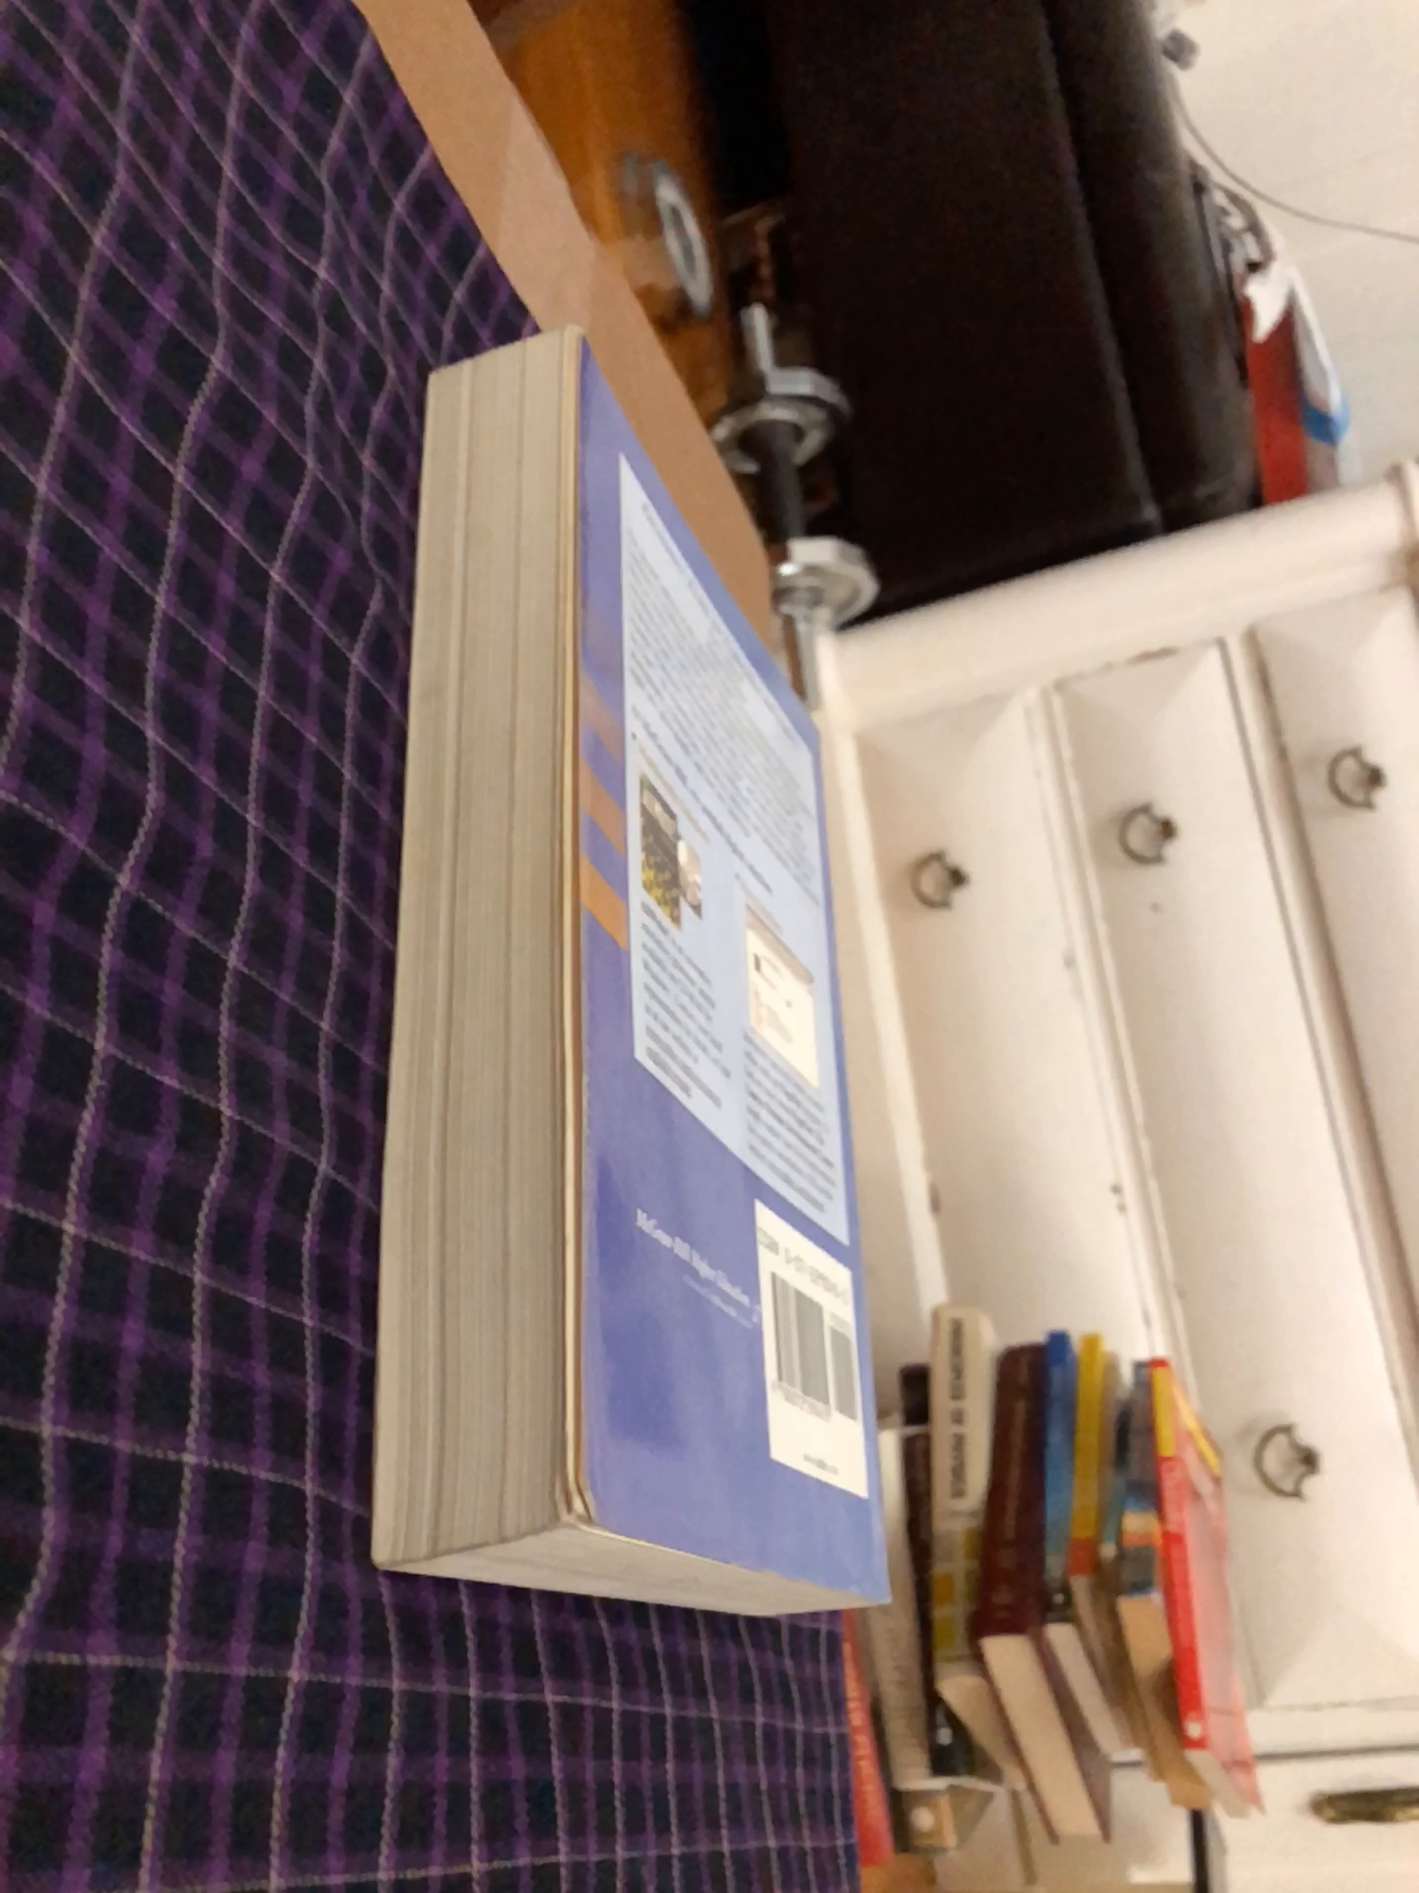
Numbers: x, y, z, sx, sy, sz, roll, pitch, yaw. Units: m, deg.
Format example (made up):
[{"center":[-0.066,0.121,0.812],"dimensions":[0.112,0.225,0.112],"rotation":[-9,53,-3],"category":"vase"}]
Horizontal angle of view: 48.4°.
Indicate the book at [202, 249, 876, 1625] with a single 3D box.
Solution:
[{"center":[-0.023,0.011,0.337],"dimensions":[0.180,0.040,0.240],"rotation":[45,36,-57],"category":"book"}]
